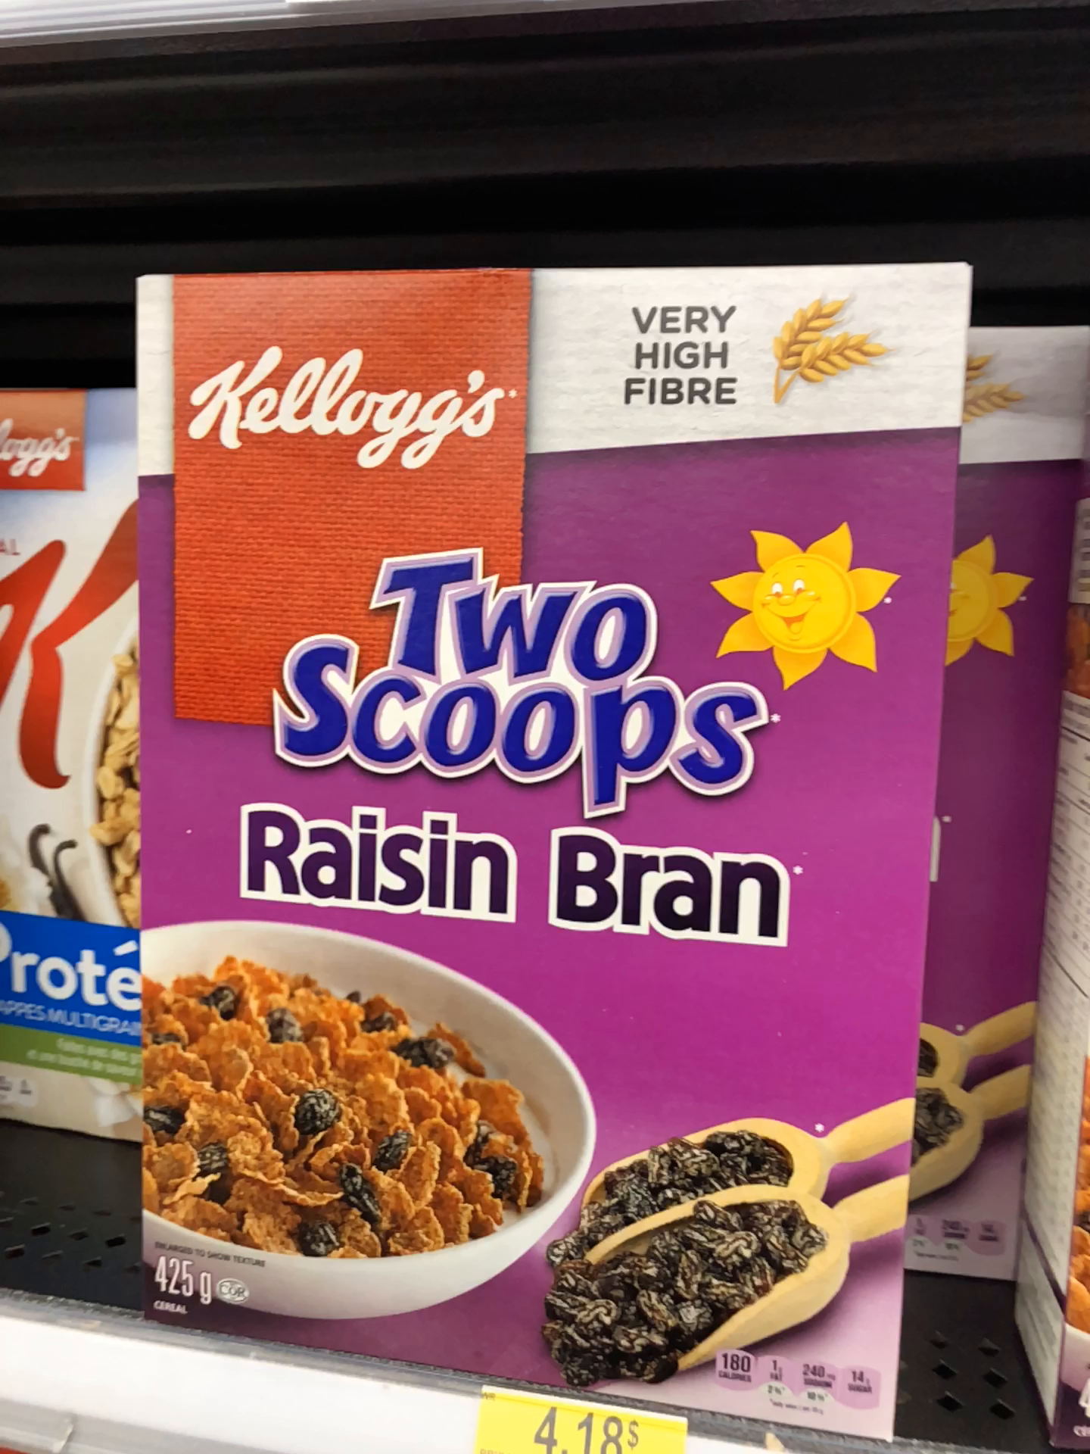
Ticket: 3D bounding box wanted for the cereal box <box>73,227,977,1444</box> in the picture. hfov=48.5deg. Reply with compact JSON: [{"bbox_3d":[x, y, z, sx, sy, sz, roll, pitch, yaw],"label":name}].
[{"bbox_3d":[-0.010,0.023,0.305,0.200,0.269,0.050,3,8,10],"label":"cereal box"}]
